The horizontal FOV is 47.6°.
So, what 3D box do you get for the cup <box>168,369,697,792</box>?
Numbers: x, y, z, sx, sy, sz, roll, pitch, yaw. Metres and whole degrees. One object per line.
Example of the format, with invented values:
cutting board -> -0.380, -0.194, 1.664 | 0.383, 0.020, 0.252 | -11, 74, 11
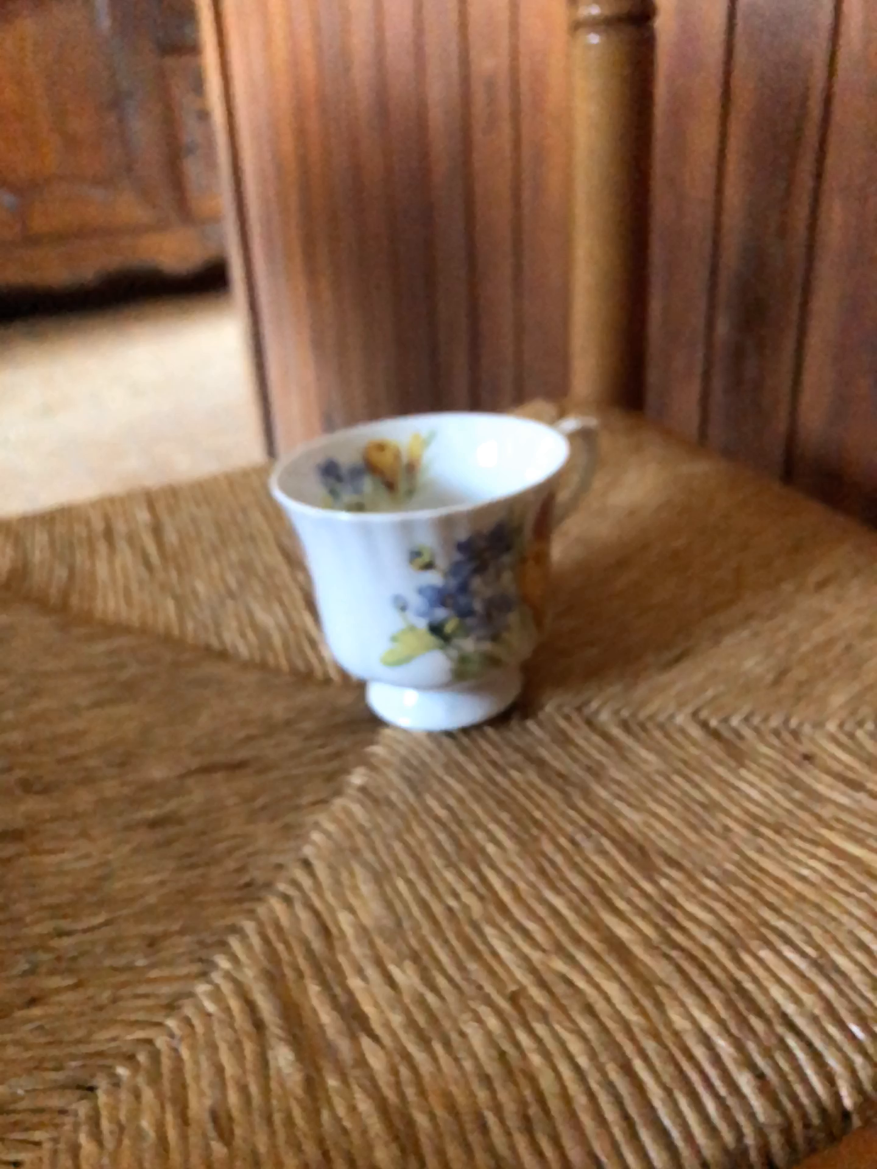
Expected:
cup -> 0.000, -0.012, 0.313 | 0.130, 0.070, 0.090 | -21, 32, -29
